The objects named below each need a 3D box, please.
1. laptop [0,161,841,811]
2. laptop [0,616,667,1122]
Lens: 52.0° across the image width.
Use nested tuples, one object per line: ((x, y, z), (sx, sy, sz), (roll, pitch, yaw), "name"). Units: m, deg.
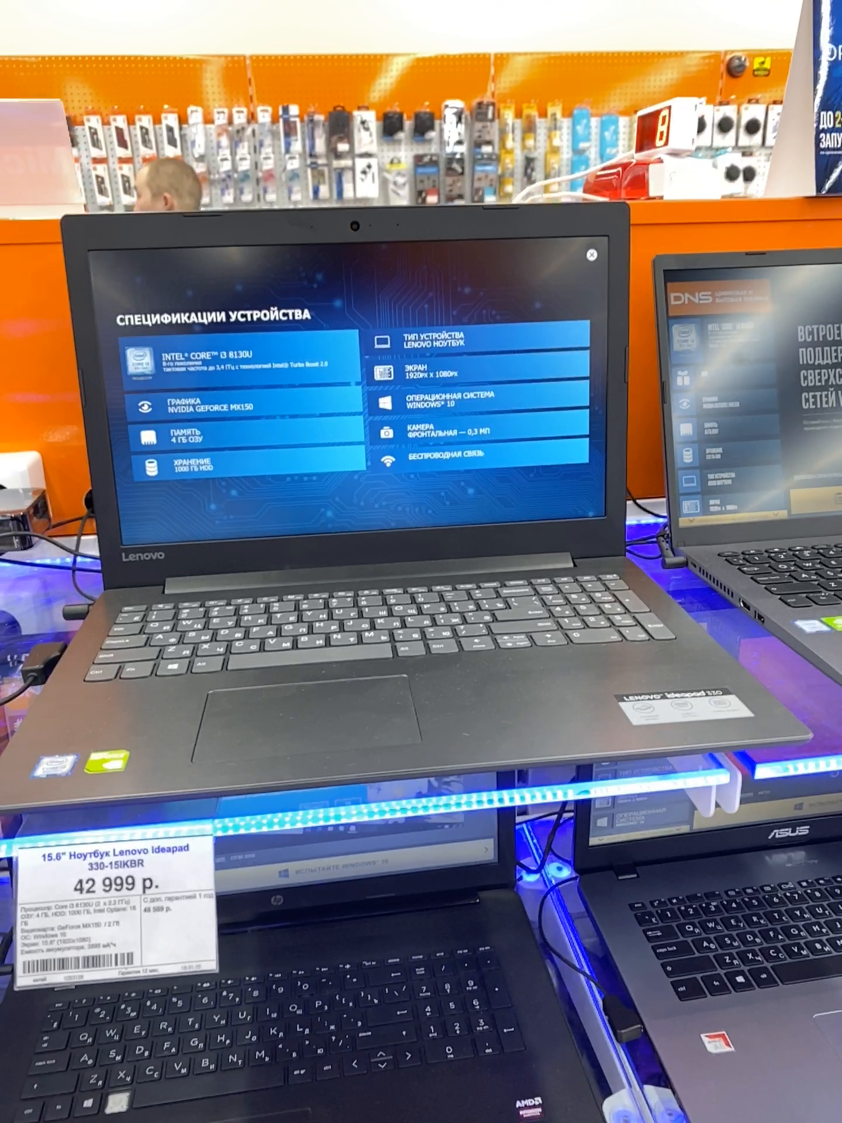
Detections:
((-0.024, -0.071, 0.478), (0.377, 0.244, 0.290), (-3, 19, -6), "laptop")
((-0.099, 0.216, 0.561), (0.400, 0.263, 0.272), (-4, 17, -9), "laptop")
